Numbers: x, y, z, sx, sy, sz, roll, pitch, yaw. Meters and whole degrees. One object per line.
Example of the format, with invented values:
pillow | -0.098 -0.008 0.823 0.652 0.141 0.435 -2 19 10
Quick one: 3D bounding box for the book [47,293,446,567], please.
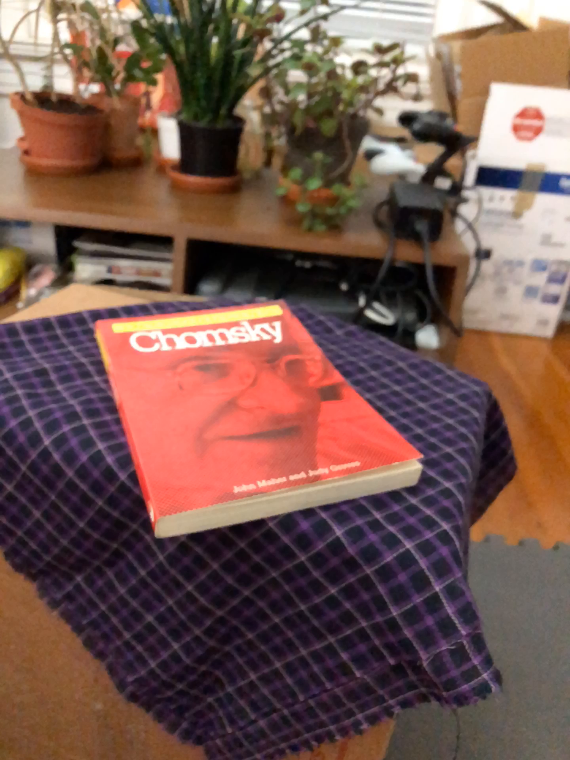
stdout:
book | -0.044 0.005 0.404 0.180 0.020 0.241 -7 32 -22
